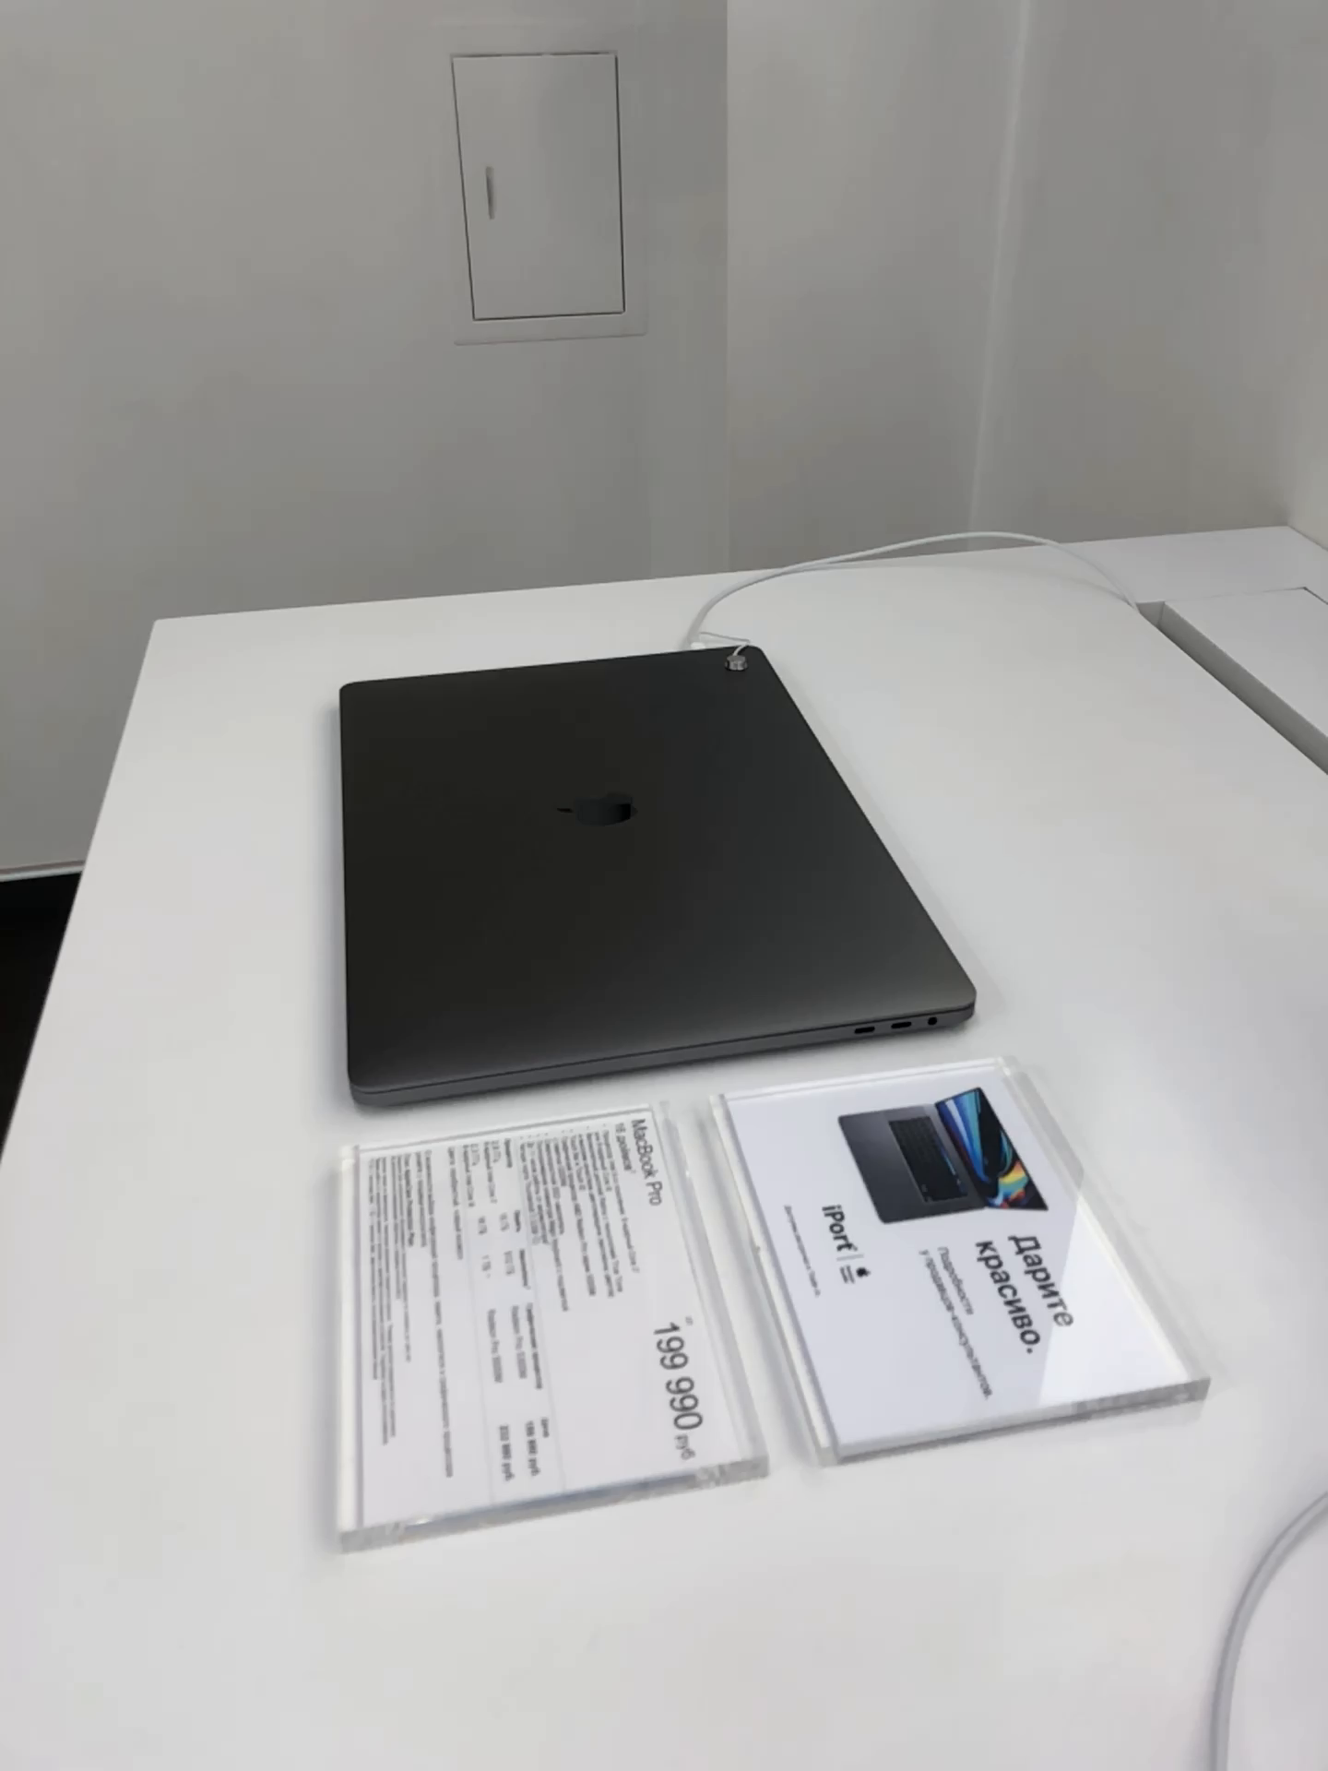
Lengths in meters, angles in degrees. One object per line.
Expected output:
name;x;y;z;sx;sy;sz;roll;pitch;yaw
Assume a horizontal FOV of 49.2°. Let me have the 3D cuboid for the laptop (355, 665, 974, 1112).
laptop;-0.027;-0.023;0.686;0.231;0.003;0.346;-8;32;-8
